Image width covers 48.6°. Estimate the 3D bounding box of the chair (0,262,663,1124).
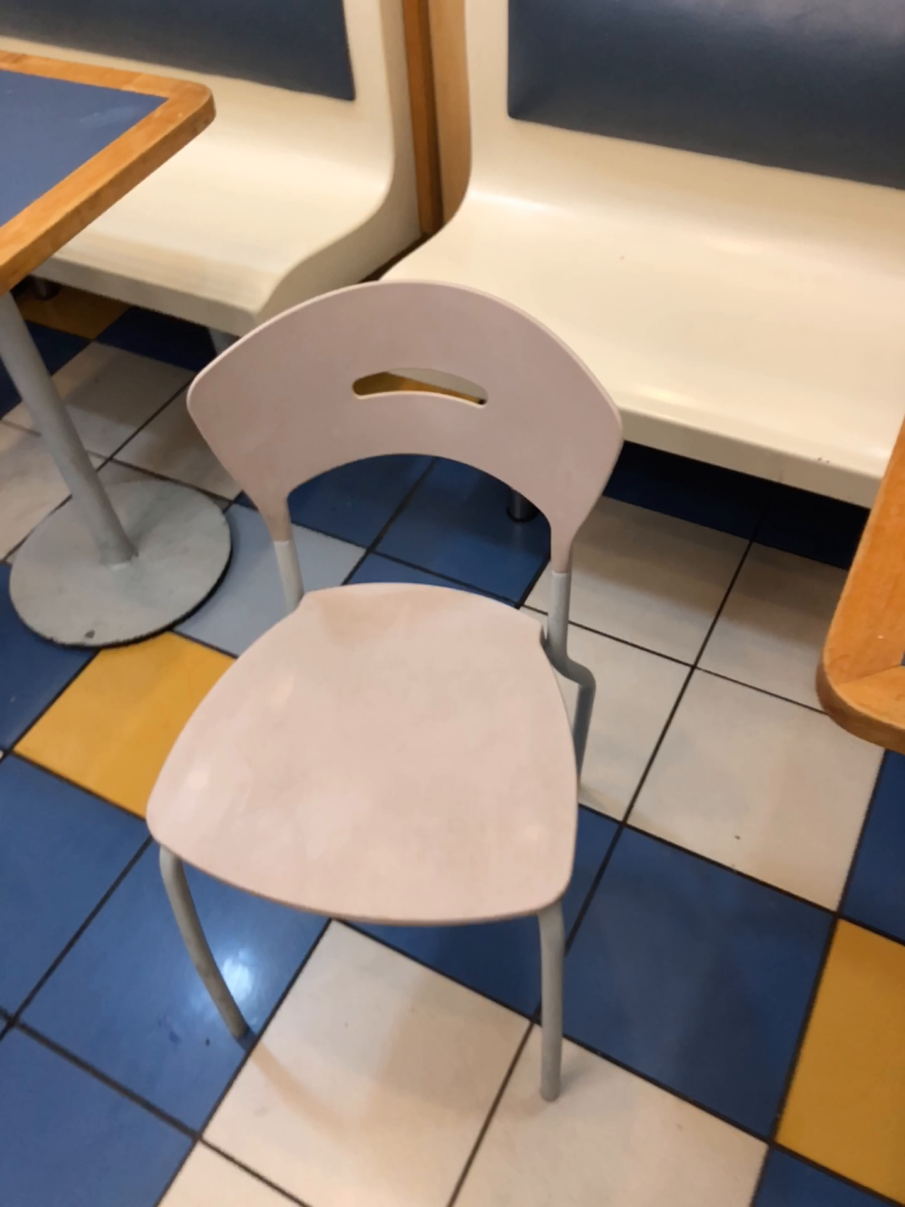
[{"bbox_3d":[-0.052,0.137,1.067,0.440,0.775,0.513,7,51,11],"label":"chair"}]
